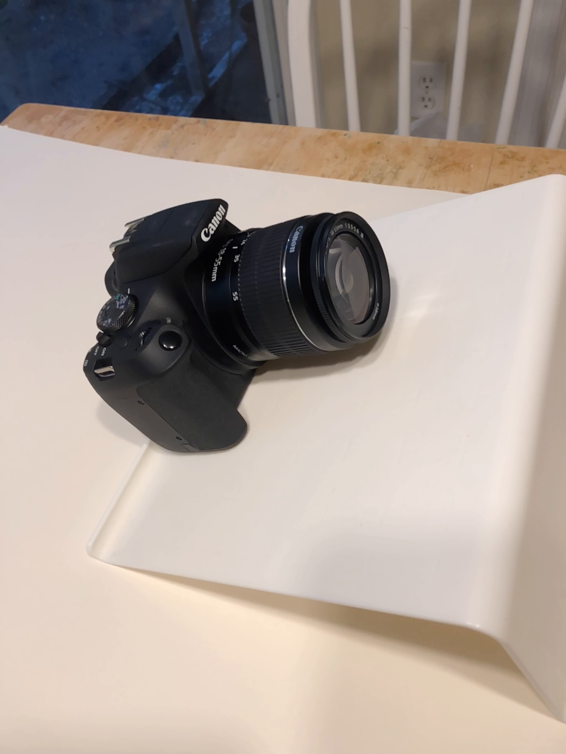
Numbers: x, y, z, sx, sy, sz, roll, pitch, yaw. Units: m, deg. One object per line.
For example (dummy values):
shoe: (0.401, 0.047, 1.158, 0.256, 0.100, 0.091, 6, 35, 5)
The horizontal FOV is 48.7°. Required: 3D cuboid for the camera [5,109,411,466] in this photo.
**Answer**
camera: (-0.033, -0.036, 0.327, 0.140, 0.104, 0.126, -8, 44, 39)
